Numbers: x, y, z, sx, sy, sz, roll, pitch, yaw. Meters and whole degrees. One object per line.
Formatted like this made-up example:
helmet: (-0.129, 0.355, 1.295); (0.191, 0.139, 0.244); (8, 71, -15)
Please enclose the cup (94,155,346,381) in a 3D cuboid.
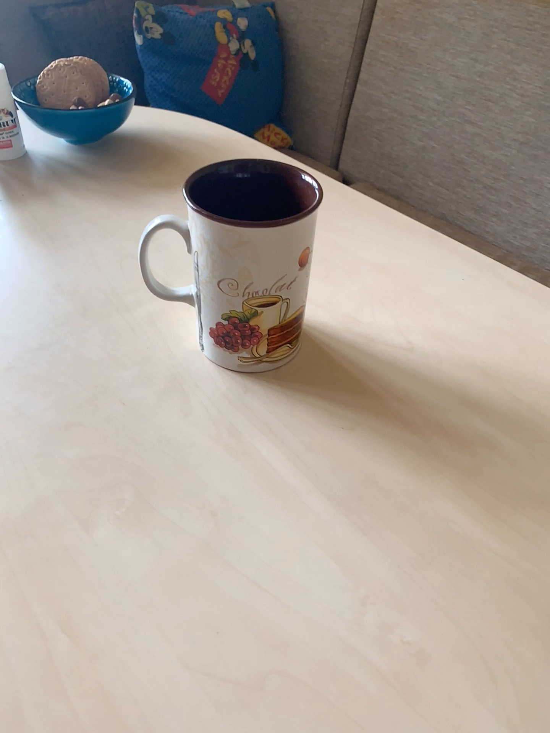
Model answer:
cup: (-0.033, -0.062, 0.363); (0.130, 0.110, 0.090); (0, 42, -4)
